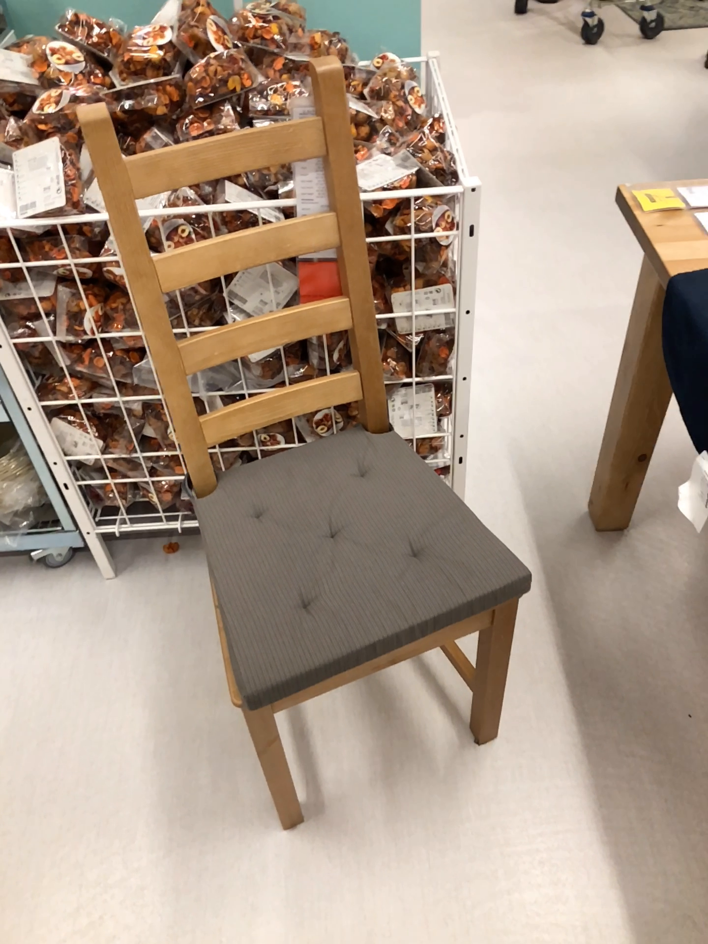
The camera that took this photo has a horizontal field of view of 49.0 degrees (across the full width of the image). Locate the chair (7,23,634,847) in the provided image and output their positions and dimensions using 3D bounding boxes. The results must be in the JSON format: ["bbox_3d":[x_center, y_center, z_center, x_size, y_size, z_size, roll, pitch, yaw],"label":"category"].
[{"bbox_3d":[-0.046,0.011,1.030,0.430,0.914,0.473,-19,47,-14],"label":"chair"}]
